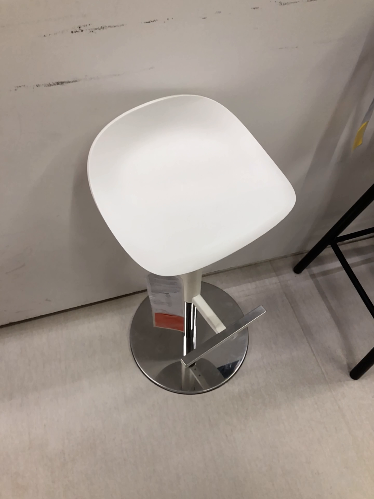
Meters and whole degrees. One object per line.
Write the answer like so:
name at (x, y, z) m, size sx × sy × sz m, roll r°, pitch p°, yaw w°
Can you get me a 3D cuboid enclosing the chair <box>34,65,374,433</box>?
chair at (0.014, 0.049, 1.092) m, size 0.441 × 0.746 × 0.512 m, roll -29°, pitch 61°, yaw -19°
